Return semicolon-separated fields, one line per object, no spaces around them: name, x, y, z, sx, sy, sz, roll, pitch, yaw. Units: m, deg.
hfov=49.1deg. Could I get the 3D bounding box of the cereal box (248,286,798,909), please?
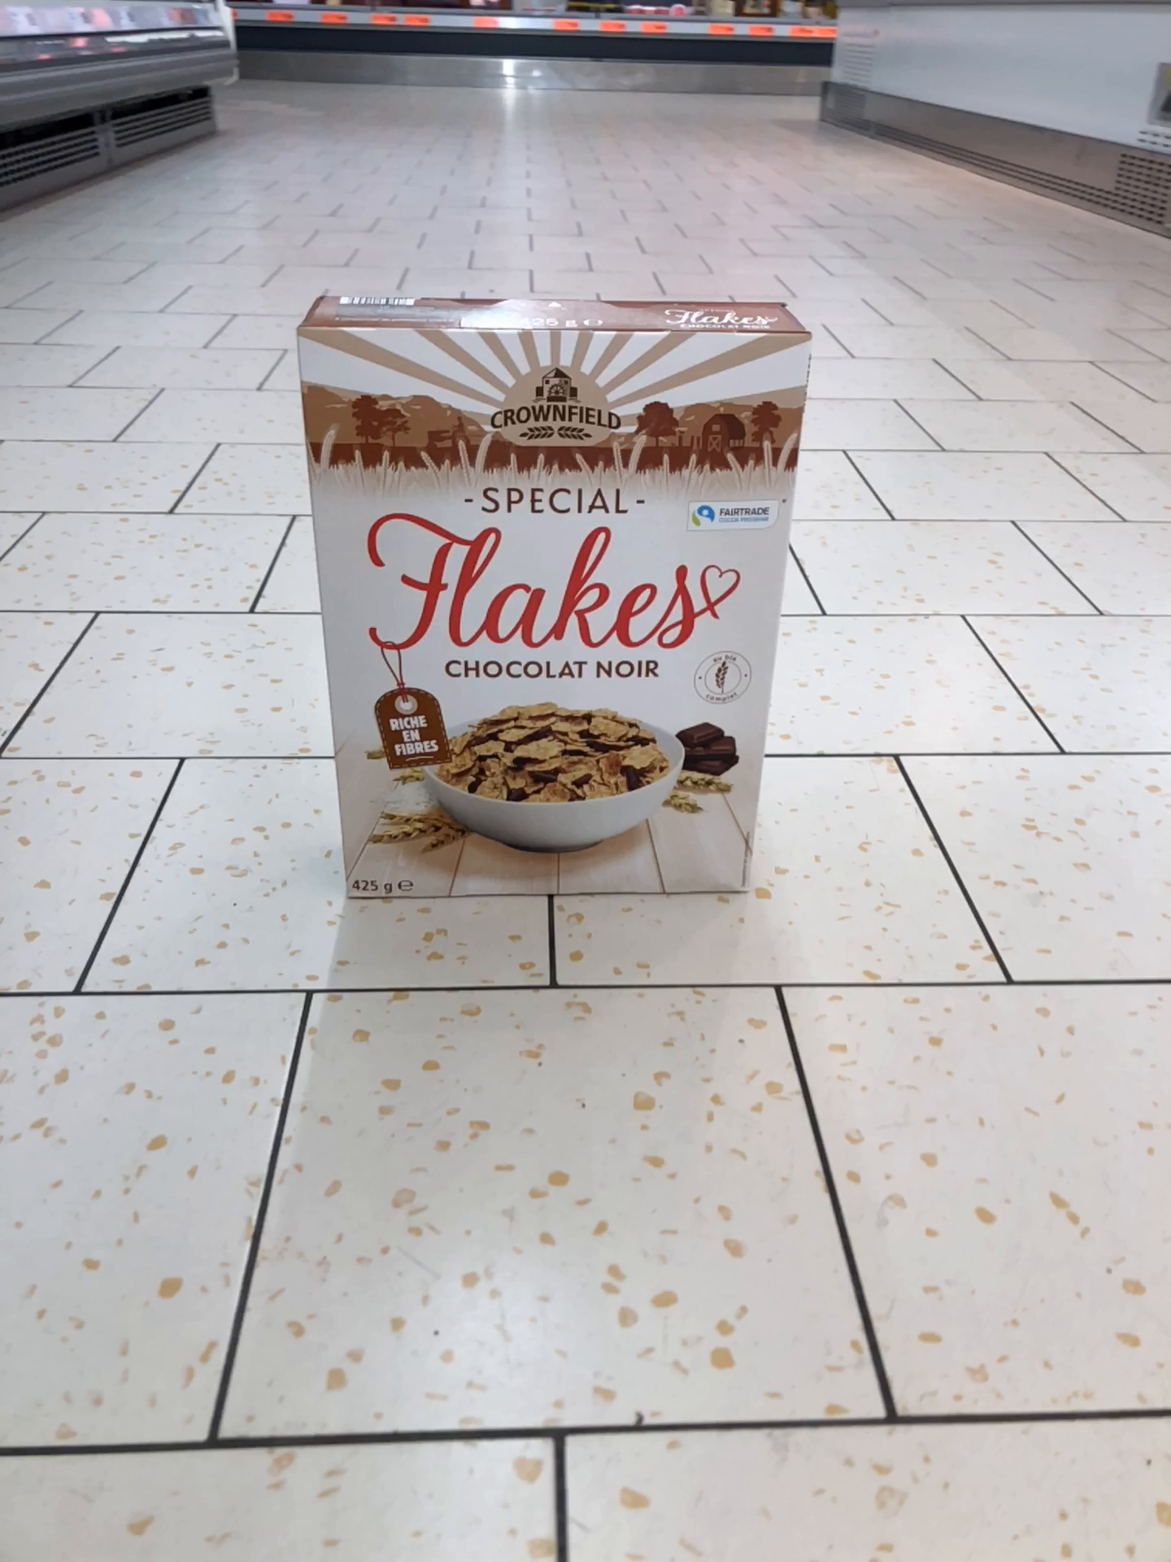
cereal box;-0.026;-0.072;0.560;0.200;0.258;0.070;0;29;-3
